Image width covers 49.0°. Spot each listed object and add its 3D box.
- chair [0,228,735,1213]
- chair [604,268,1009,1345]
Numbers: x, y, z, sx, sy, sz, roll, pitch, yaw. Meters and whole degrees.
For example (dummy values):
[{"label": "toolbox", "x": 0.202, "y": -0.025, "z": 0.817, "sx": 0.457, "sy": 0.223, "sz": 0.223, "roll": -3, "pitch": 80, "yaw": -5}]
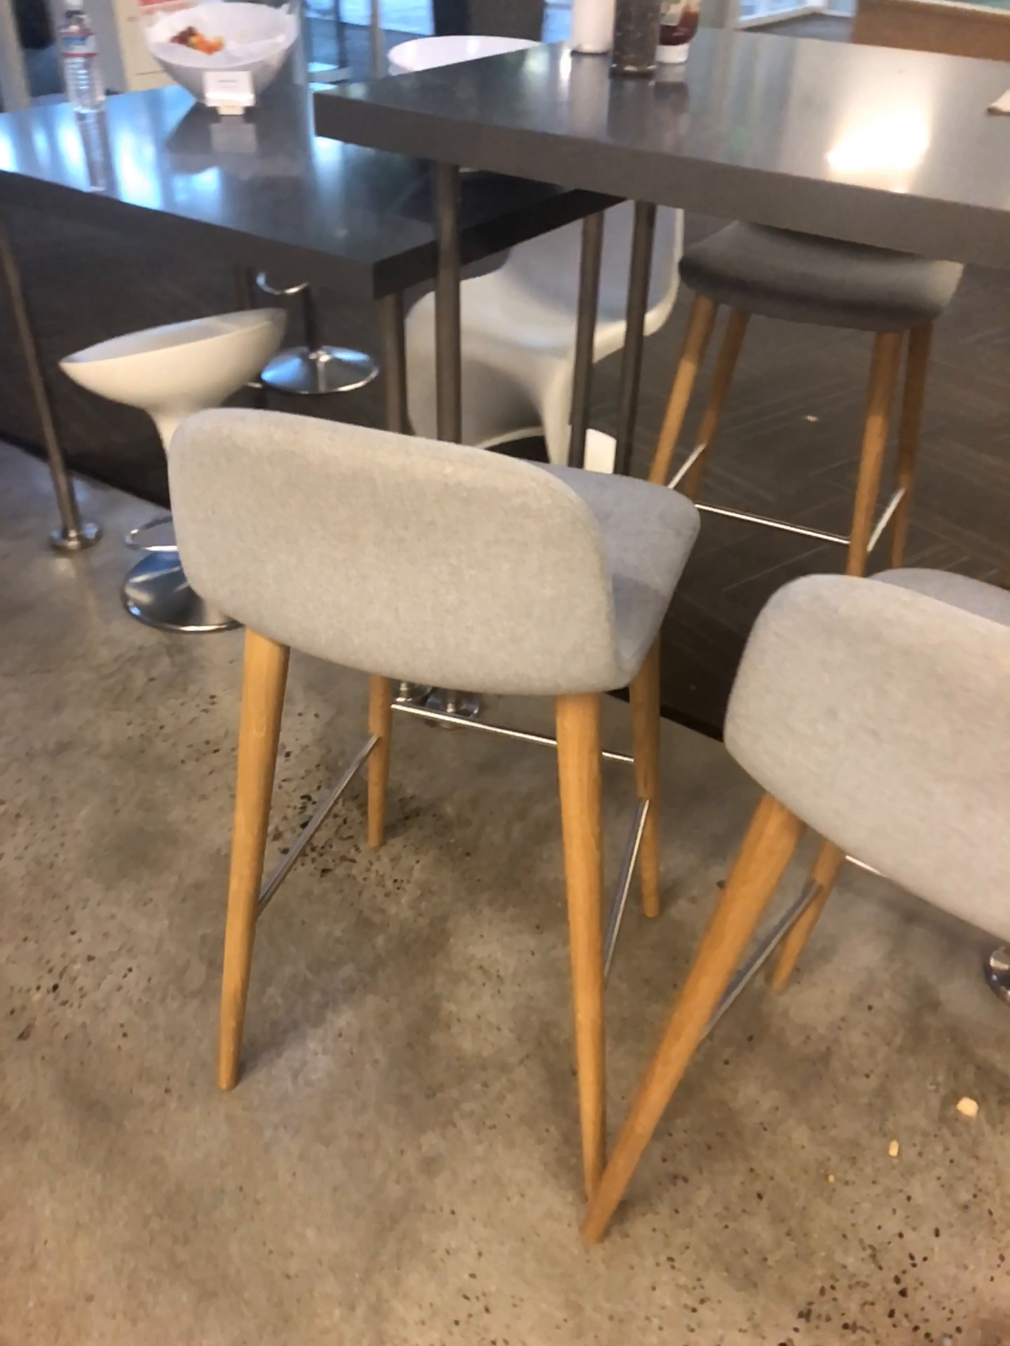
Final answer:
[{"label": "chair", "x": -0.056, "y": 0.049, "z": 1.220, "sx": 0.490, "sy": 0.893, "sz": 0.515, "roll": 7, "pitch": 36, "yaw": 15}, {"label": "chair", "x": 0.446, "y": 0.232, "z": 1.006, "sx": 0.500, "sy": 0.982, "sz": 0.544, "roll": 18, "pitch": 39, "yaw": 28}]
